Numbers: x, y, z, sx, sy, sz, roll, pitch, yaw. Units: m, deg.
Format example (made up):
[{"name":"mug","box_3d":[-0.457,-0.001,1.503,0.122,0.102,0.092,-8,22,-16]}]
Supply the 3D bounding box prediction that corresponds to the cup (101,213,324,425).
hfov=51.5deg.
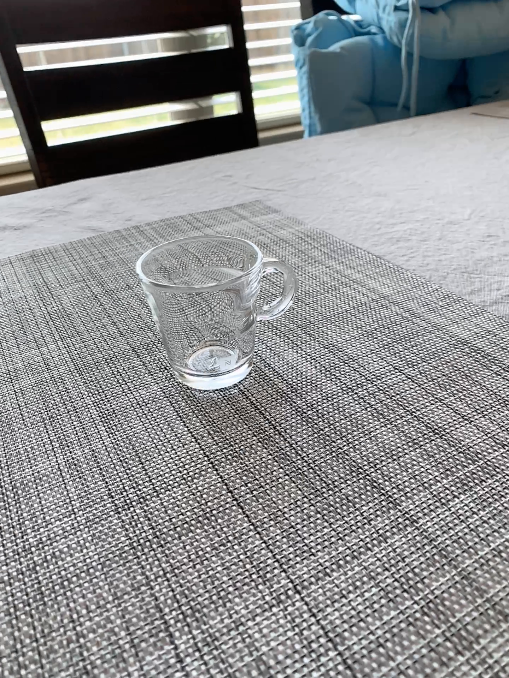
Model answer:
[{"name":"cup","box_3d":[-0.018,-0.014,0.254,0.083,0.060,0.058,-21,36,-21]}]
